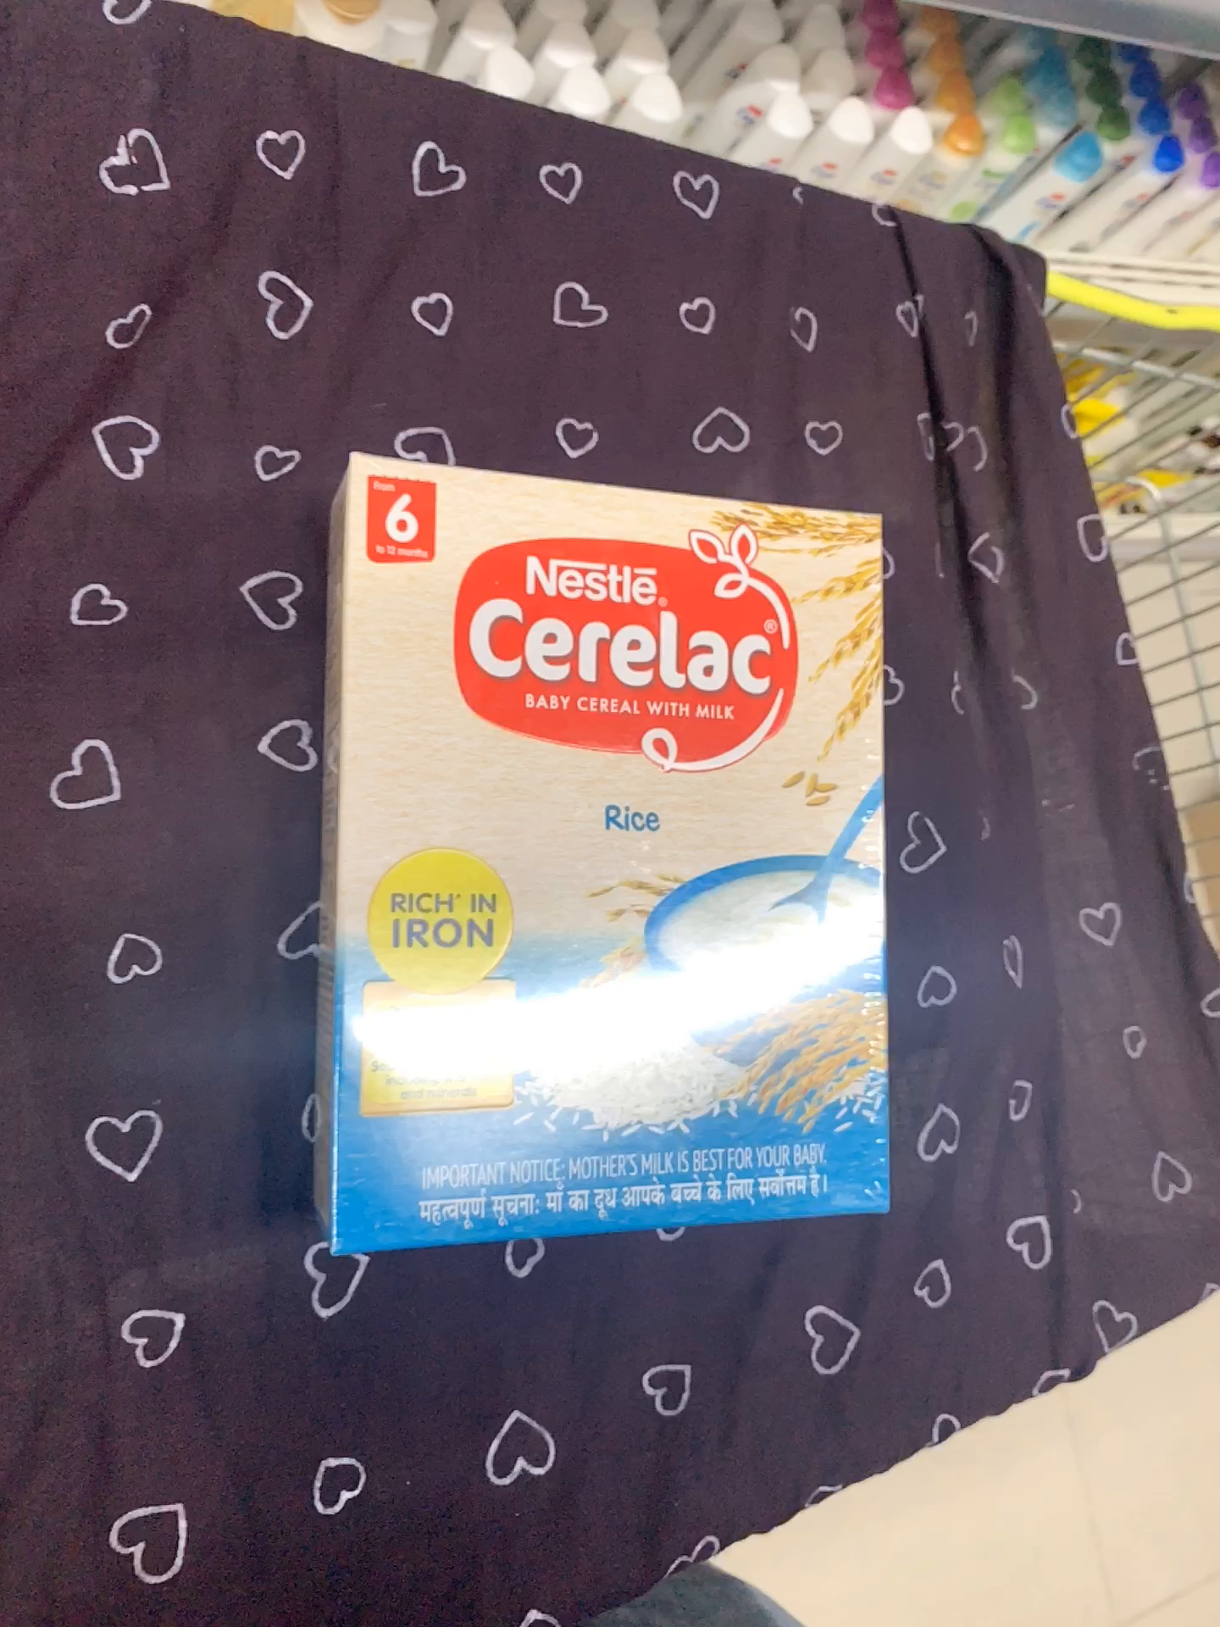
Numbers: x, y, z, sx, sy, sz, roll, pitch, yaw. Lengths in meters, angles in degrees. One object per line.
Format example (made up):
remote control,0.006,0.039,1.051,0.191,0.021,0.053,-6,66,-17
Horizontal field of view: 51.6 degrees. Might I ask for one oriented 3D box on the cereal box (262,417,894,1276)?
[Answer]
cereal box,-0.007,0.008,0.339,0.160,0.040,0.200,1,84,-19
